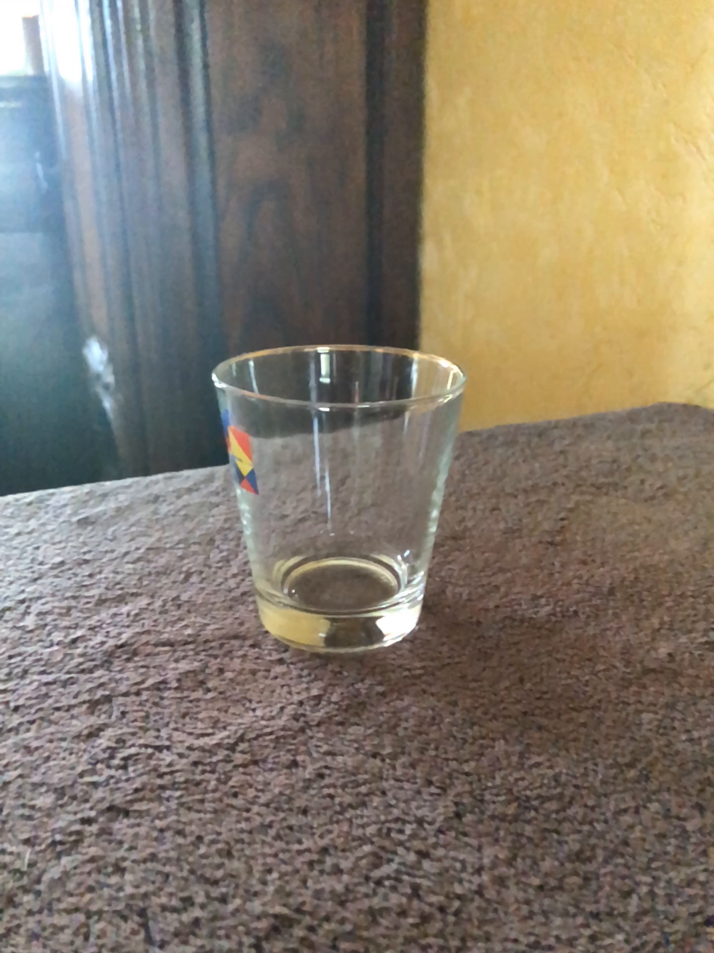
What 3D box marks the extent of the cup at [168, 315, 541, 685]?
[{"bbox_3d":[-0.003,-0.002,0.249,0.080,0.080,0.080,0,20,0],"label":"cup"}]
